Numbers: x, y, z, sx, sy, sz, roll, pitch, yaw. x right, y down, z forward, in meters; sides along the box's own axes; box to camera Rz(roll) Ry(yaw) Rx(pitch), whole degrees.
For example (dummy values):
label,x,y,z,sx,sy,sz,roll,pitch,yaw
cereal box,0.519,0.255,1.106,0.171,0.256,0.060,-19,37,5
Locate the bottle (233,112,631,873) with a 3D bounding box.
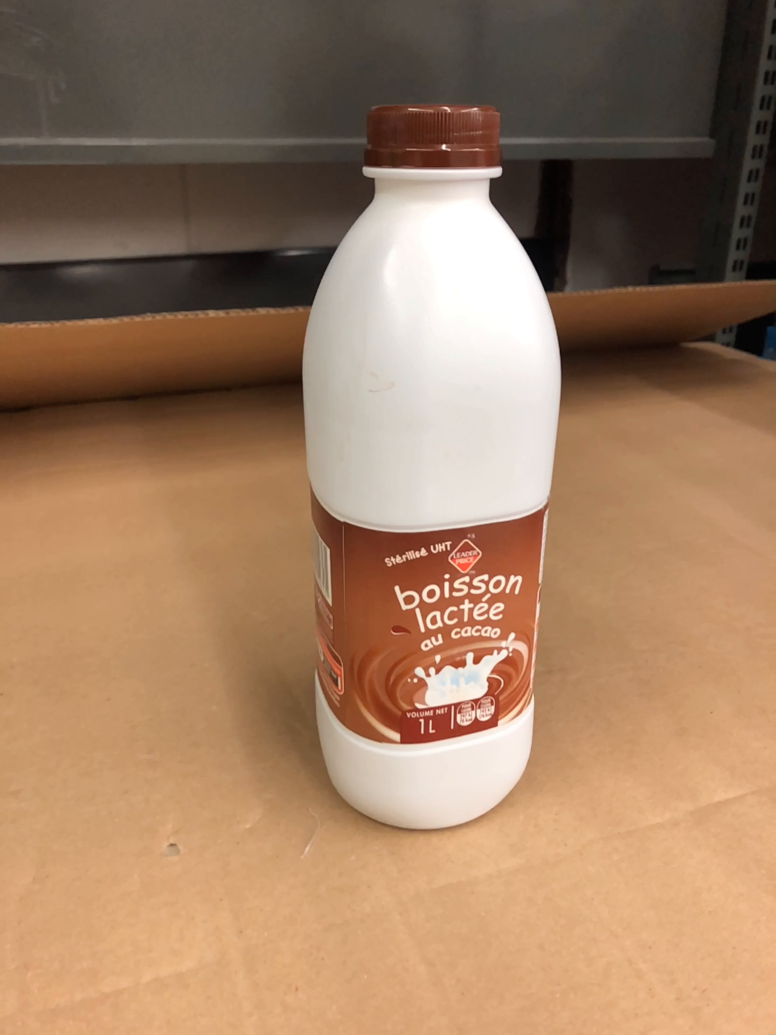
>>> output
label,x,y,z,sx,sy,sz,roll,pitch,yaw
bottle,0.008,-0.008,0.298,0.090,0.239,0.080,-9,26,-20
